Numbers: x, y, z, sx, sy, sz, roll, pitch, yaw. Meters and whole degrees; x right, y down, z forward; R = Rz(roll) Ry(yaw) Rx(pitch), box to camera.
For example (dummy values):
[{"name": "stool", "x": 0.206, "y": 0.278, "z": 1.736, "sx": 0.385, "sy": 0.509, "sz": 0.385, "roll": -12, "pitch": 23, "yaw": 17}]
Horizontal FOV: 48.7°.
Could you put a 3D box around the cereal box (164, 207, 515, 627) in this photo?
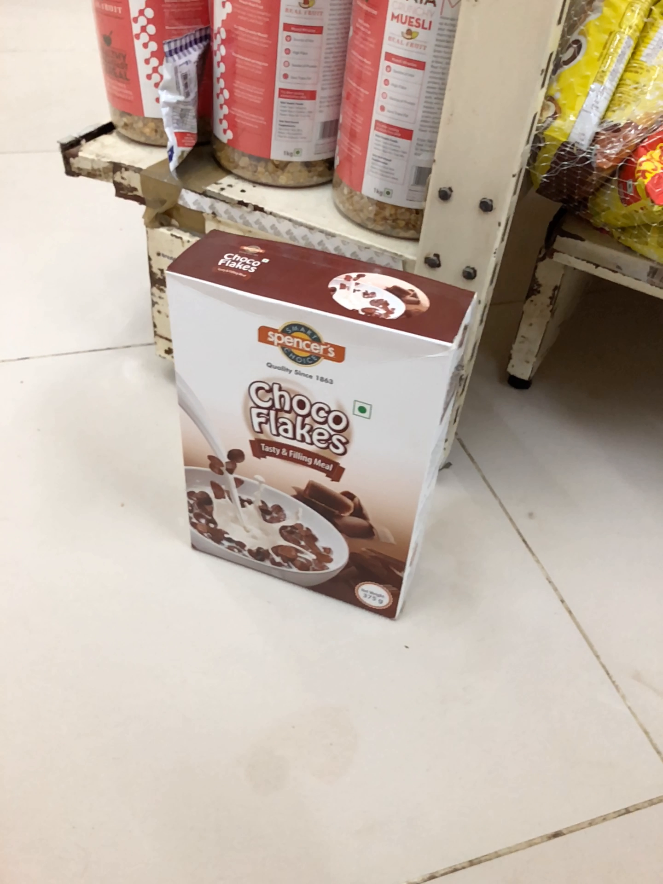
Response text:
[{"name": "cereal box", "x": -0.002, "y": -0.005, "z": 0.499, "sx": 0.190, "sy": 0.258, "sz": 0.060, "roll": 17, "pitch": 43, "yaw": 14}]
